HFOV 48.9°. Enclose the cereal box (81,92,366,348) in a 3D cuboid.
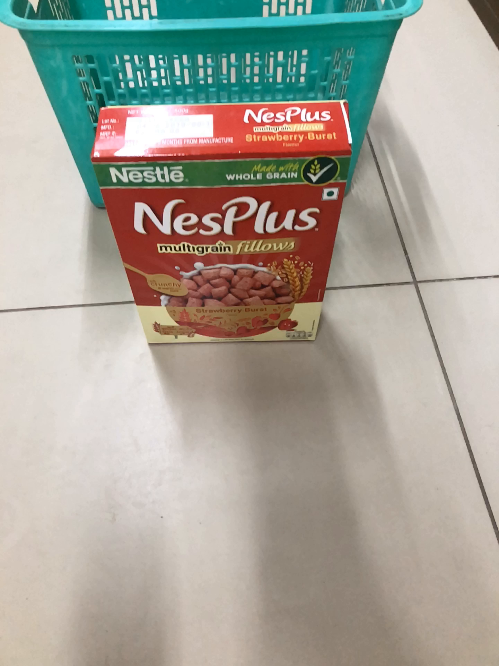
[{"bbox_3d":[-0.019,-0.080,0.491,0.190,0.258,0.060,-1,58,-1],"label":"cereal box"}]
